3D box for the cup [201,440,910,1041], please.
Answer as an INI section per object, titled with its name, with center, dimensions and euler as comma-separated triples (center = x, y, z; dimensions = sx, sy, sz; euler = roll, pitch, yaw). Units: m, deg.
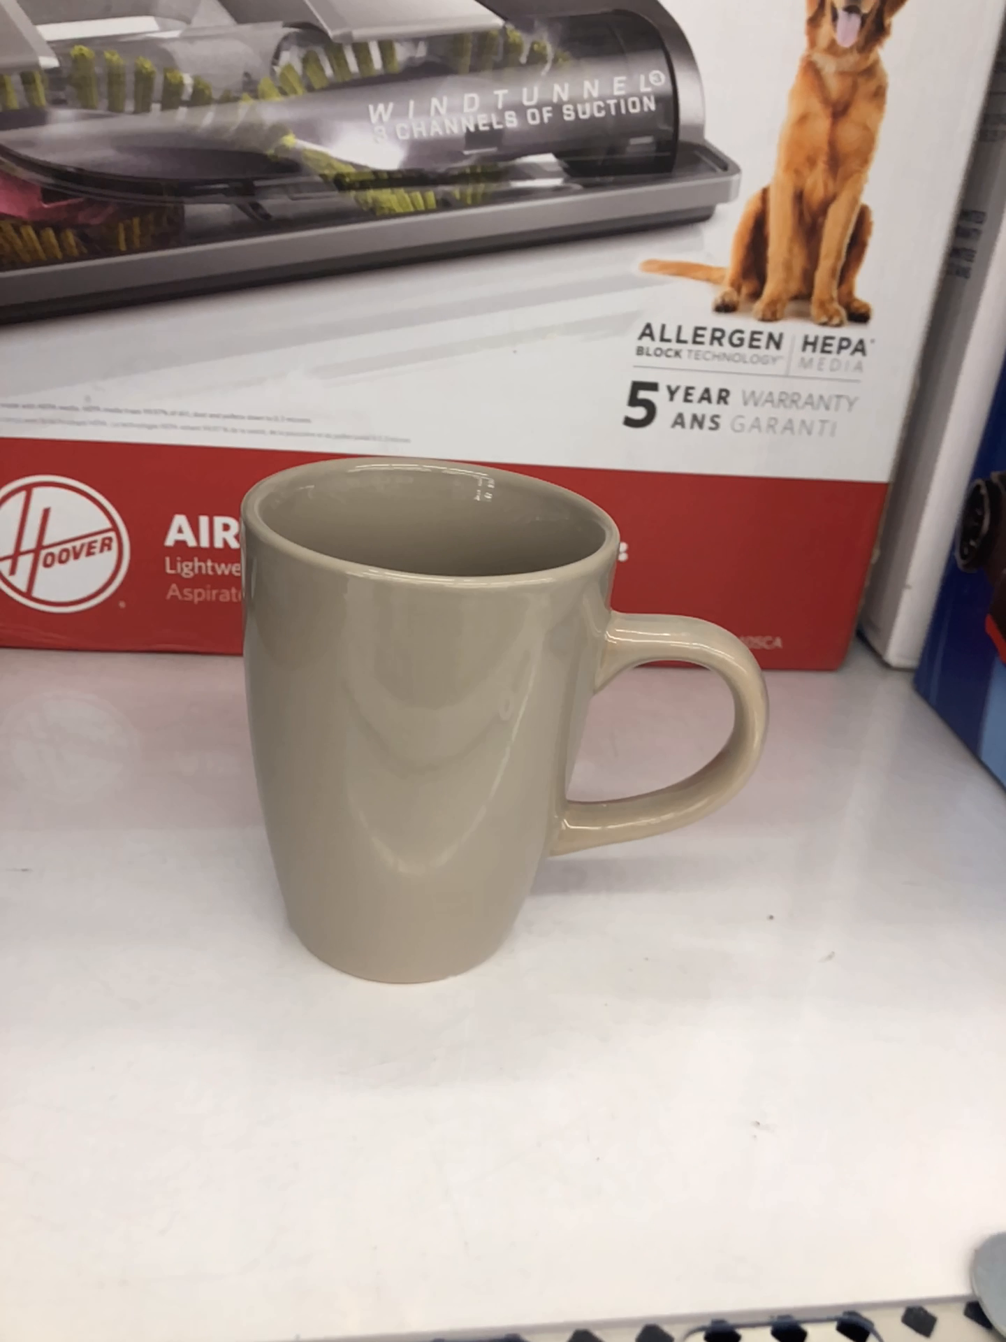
[cup]
center = 0.007, 0.011, 0.256
dimensions = 0.125, 0.092, 0.088
euler = 6, 26, 0
